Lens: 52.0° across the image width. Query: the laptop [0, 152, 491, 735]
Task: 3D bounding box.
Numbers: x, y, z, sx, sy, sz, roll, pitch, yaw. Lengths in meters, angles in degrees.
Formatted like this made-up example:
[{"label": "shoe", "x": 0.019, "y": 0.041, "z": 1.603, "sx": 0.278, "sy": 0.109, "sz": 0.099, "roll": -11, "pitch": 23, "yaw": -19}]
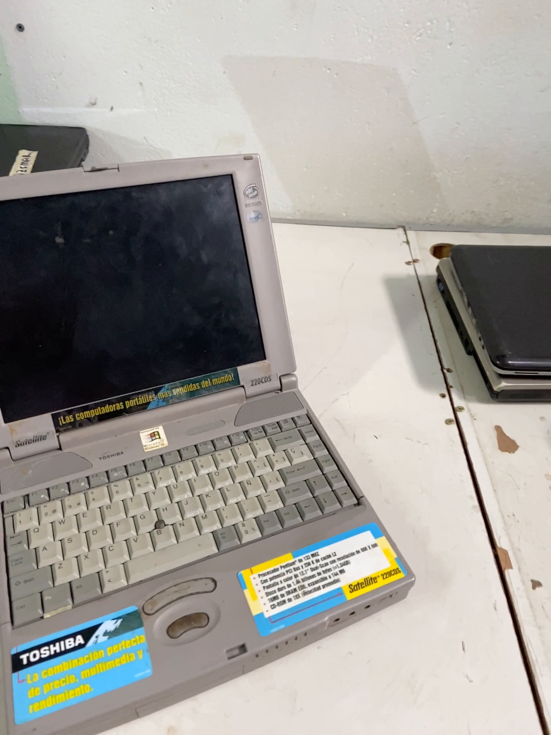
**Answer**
[{"label": "laptop", "x": -0.091, "y": 0.012, "z": 0.453, "sx": 0.301, "sy": 0.195, "sz": 0.359, "roll": -14, "pitch": 46, "yaw": -18}]
